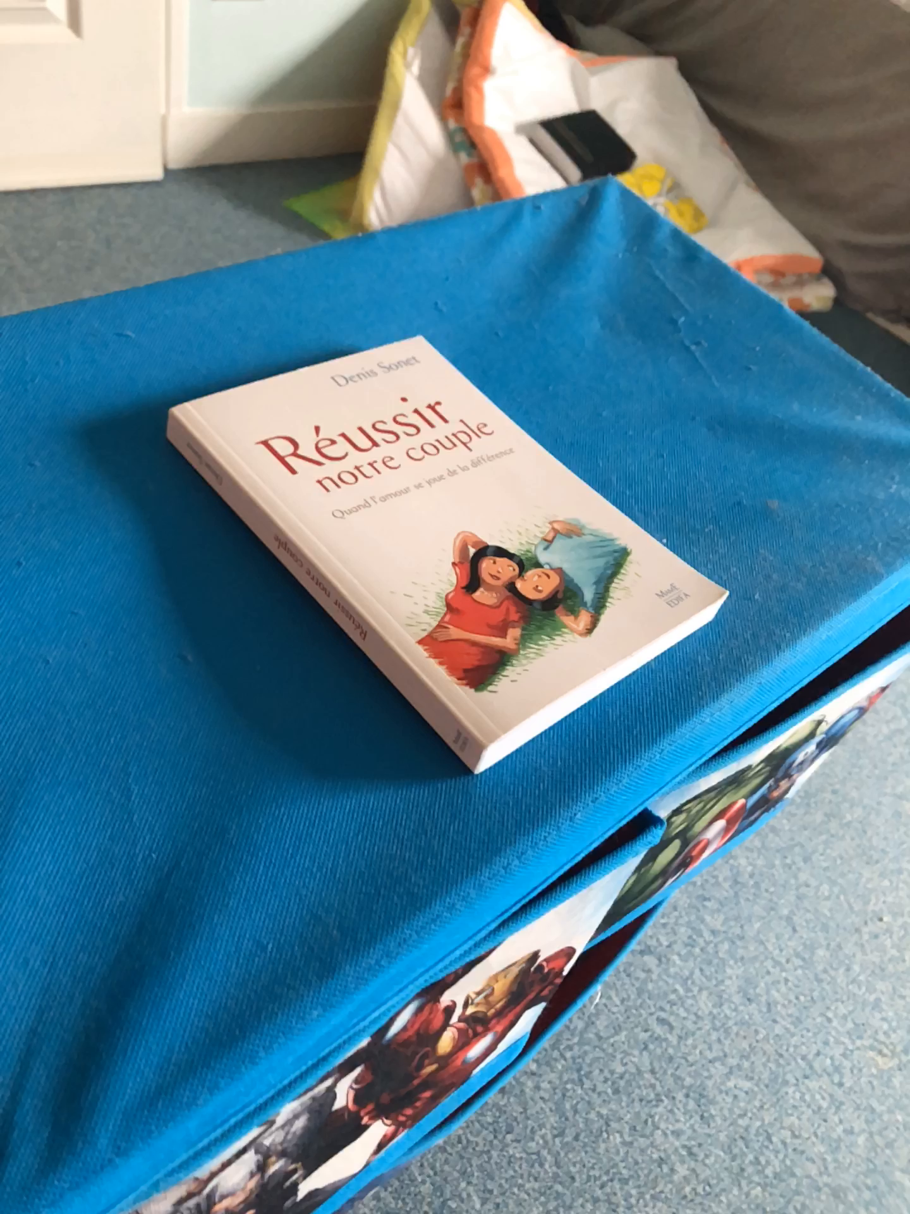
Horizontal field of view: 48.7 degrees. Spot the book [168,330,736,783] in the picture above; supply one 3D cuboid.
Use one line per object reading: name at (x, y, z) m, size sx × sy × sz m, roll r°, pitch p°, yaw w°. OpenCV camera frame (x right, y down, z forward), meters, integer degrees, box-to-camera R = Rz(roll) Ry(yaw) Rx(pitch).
book at (-0.002, -0.035, 0.391) m, size 0.135 × 0.016 × 0.186 m, roll -27°, pitch 62°, yaw -35°
